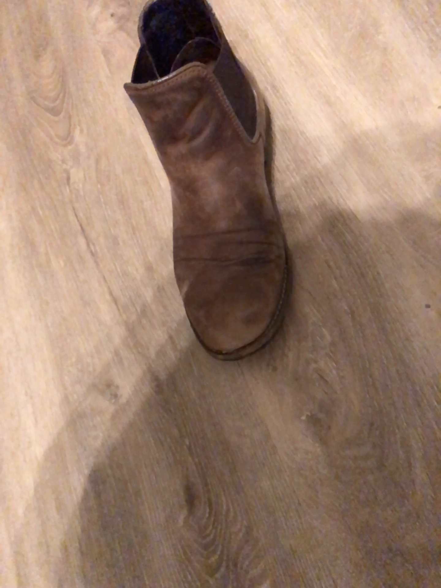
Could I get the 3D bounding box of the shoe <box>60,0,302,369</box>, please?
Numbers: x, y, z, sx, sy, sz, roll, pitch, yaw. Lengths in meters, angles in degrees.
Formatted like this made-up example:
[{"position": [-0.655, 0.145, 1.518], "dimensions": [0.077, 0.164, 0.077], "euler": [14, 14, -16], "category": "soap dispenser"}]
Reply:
[{"position": [-0.017, -0.083, 0.342], "dimensions": [0.100, 0.140, 0.240], "euler": [-9, 70, 18], "category": "shoe"}]
